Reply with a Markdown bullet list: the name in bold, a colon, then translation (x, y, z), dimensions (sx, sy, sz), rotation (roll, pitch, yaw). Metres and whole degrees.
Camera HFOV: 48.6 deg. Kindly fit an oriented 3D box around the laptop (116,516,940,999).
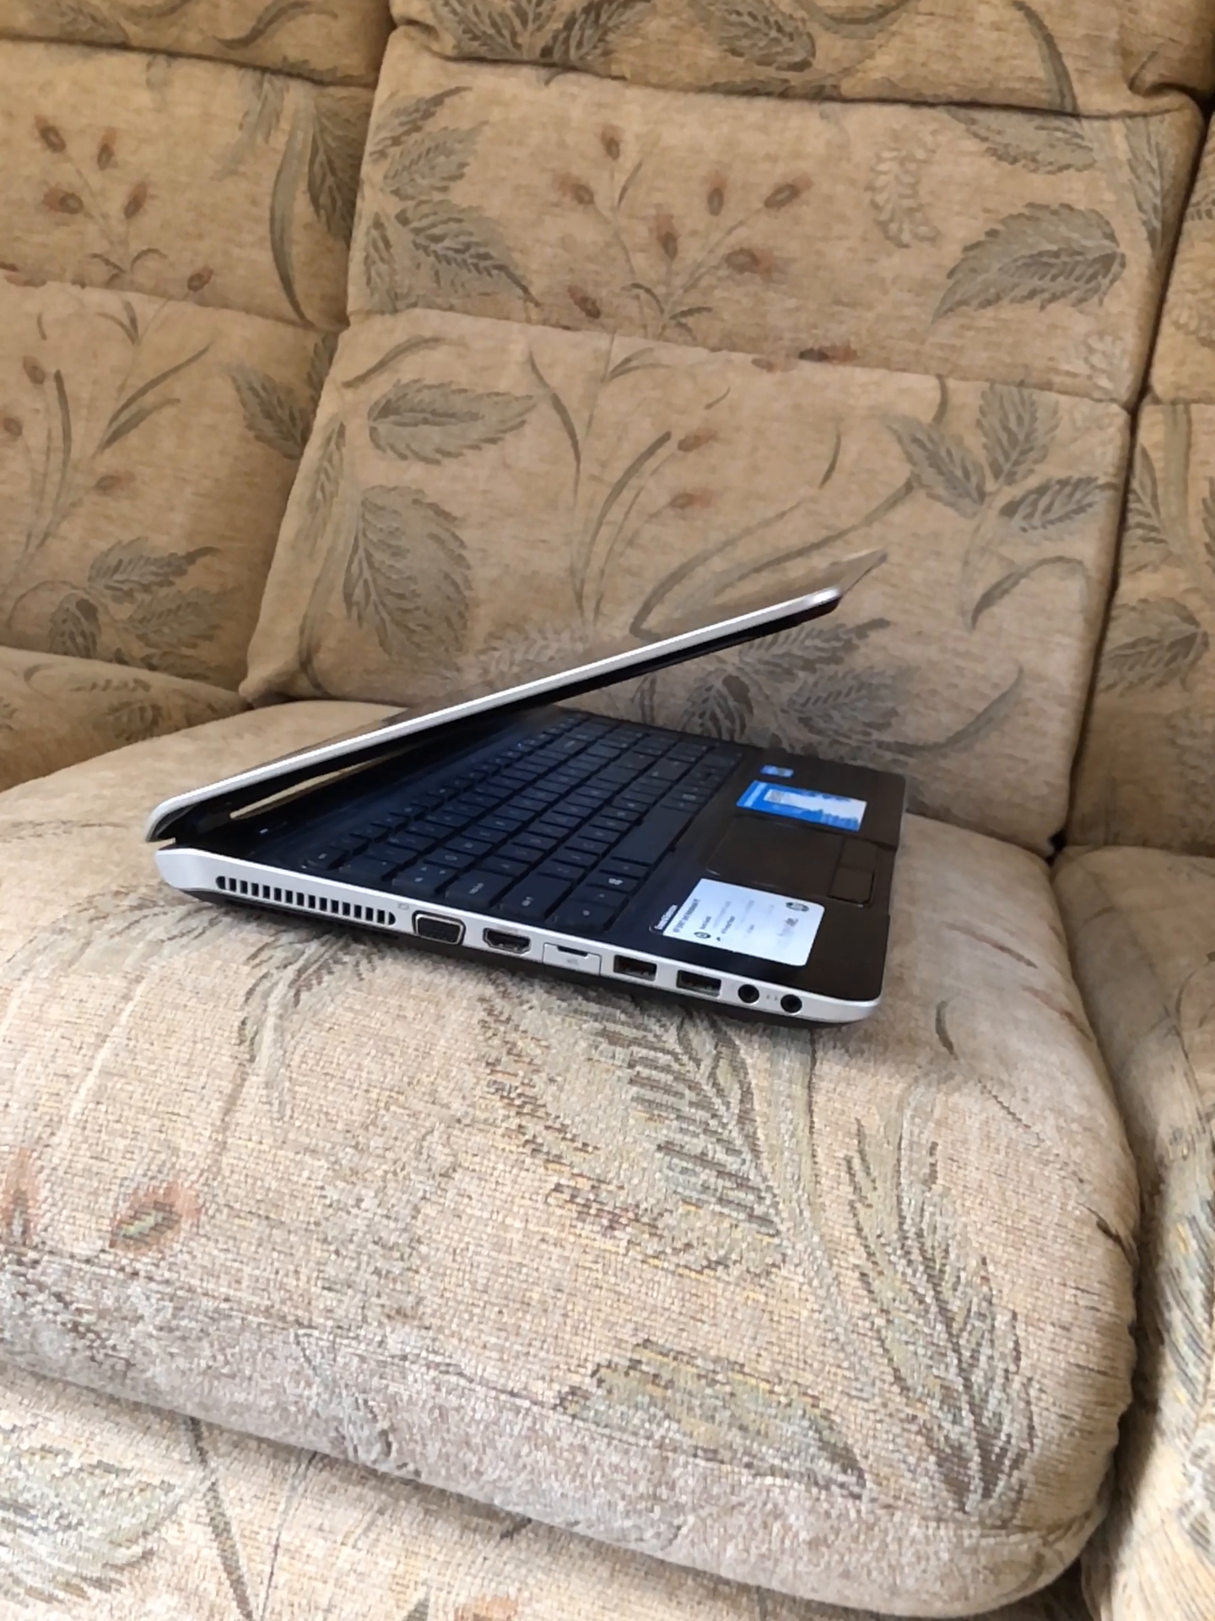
- **laptop**: translation (0.011, -0.058, 0.609), dimensions (0.254, 0.113, 0.398), rotation (10, 15, 11)
